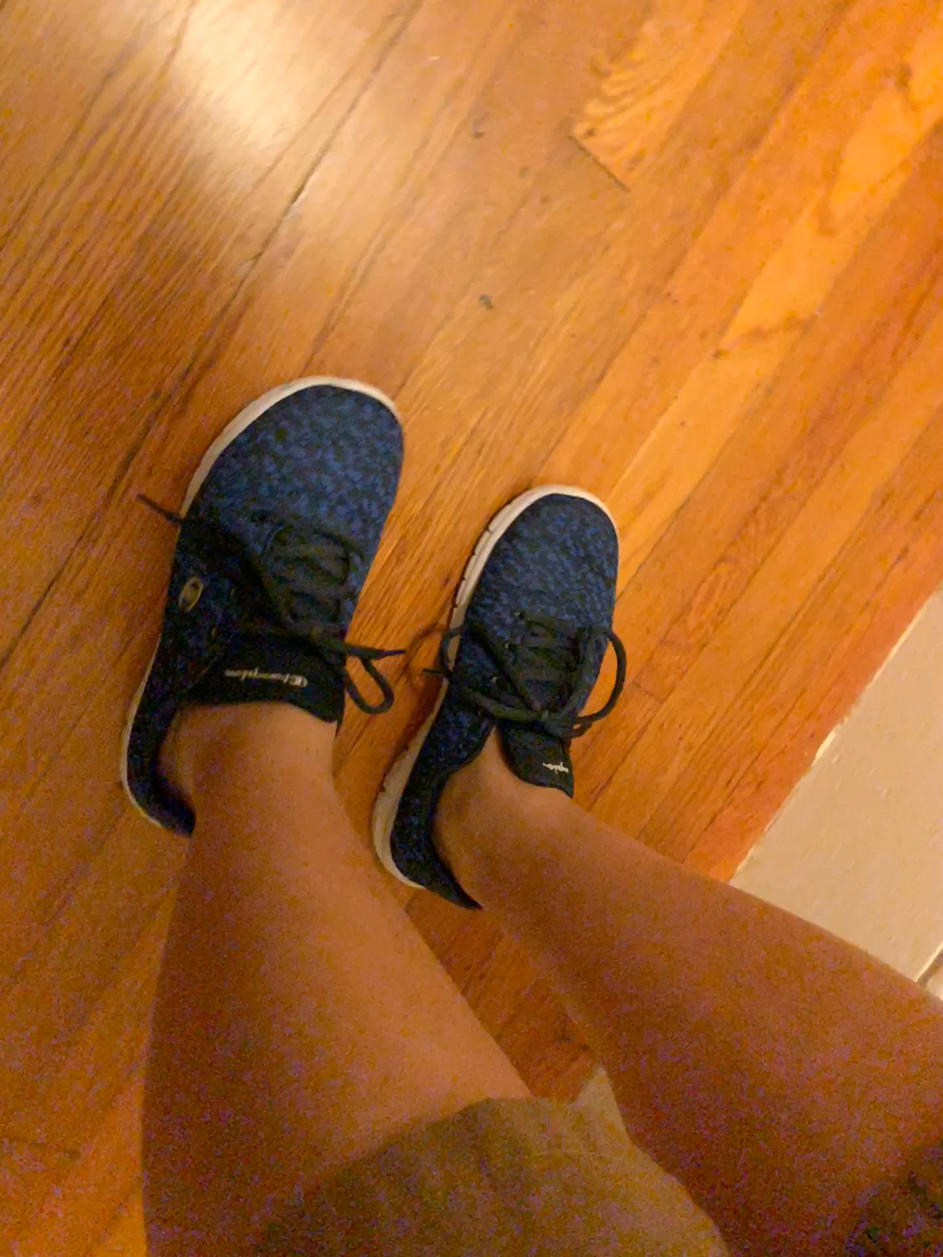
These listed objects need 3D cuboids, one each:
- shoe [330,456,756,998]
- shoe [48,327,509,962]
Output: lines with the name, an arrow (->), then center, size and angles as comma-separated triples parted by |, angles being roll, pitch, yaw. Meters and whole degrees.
shoe -> 0.031, 0.057, 0.589 | 0.118, 0.130, 0.280 | 18, 101, -25
shoe -> -0.116, 0.003, 0.524 | 0.115, 0.150, 0.290 | 20, 100, -25
